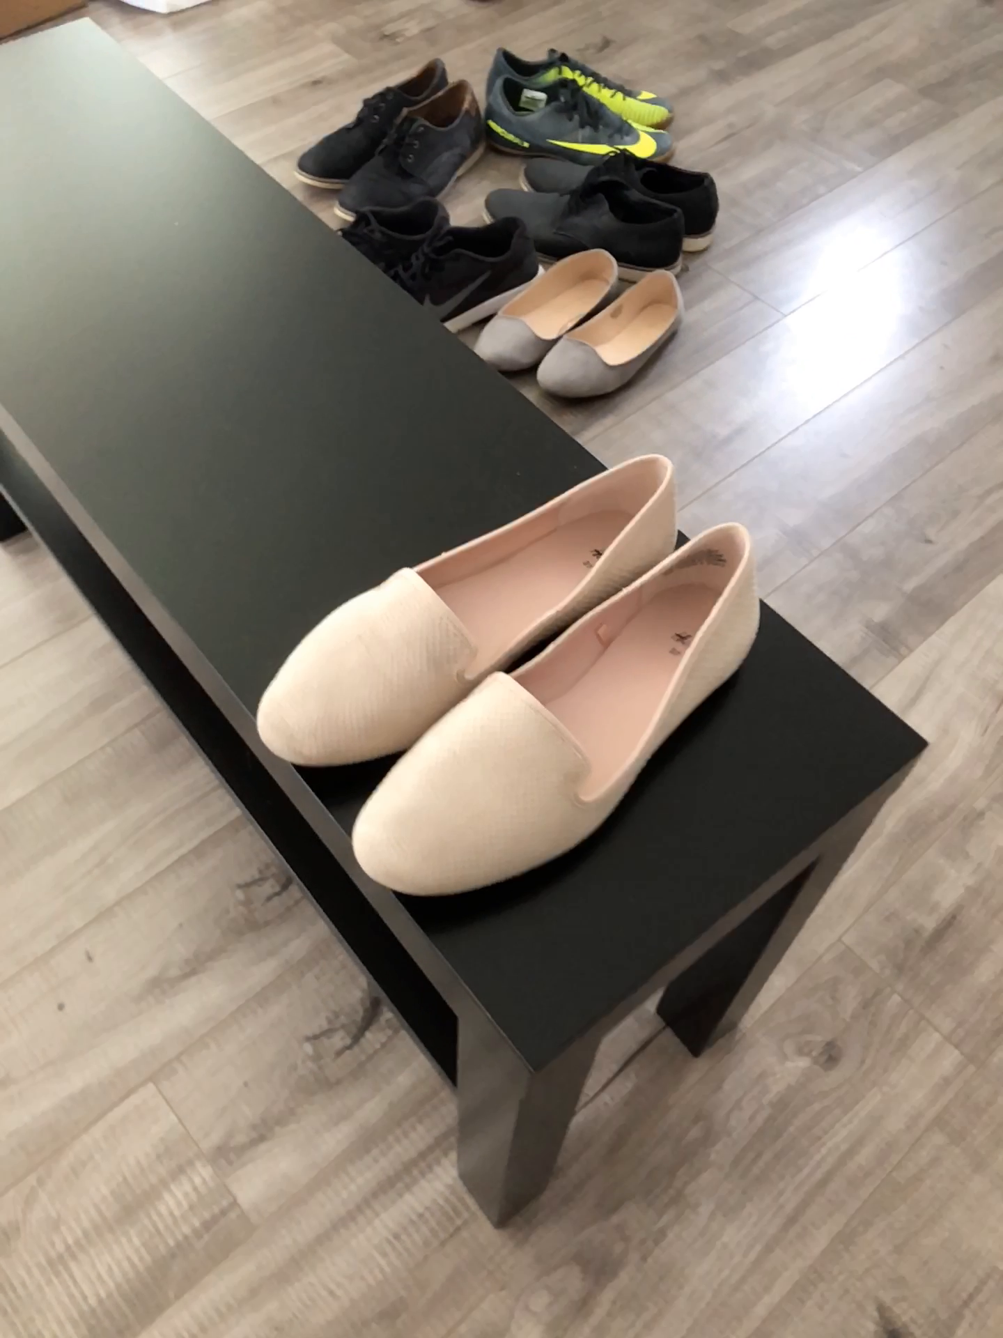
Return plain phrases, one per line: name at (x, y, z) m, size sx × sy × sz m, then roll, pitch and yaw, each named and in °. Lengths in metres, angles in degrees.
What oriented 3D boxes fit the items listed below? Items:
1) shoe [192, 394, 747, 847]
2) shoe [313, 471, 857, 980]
shoe at (-0.009, -0.032, 0.545) m, size 0.259 × 0.070 × 0.090 m, roll -33°, pitch 62°, yaw -23°
shoe at (0.044, 0.016, 0.509) m, size 0.259 × 0.070 × 0.080 m, roll -37°, pitch 64°, yaw -25°
